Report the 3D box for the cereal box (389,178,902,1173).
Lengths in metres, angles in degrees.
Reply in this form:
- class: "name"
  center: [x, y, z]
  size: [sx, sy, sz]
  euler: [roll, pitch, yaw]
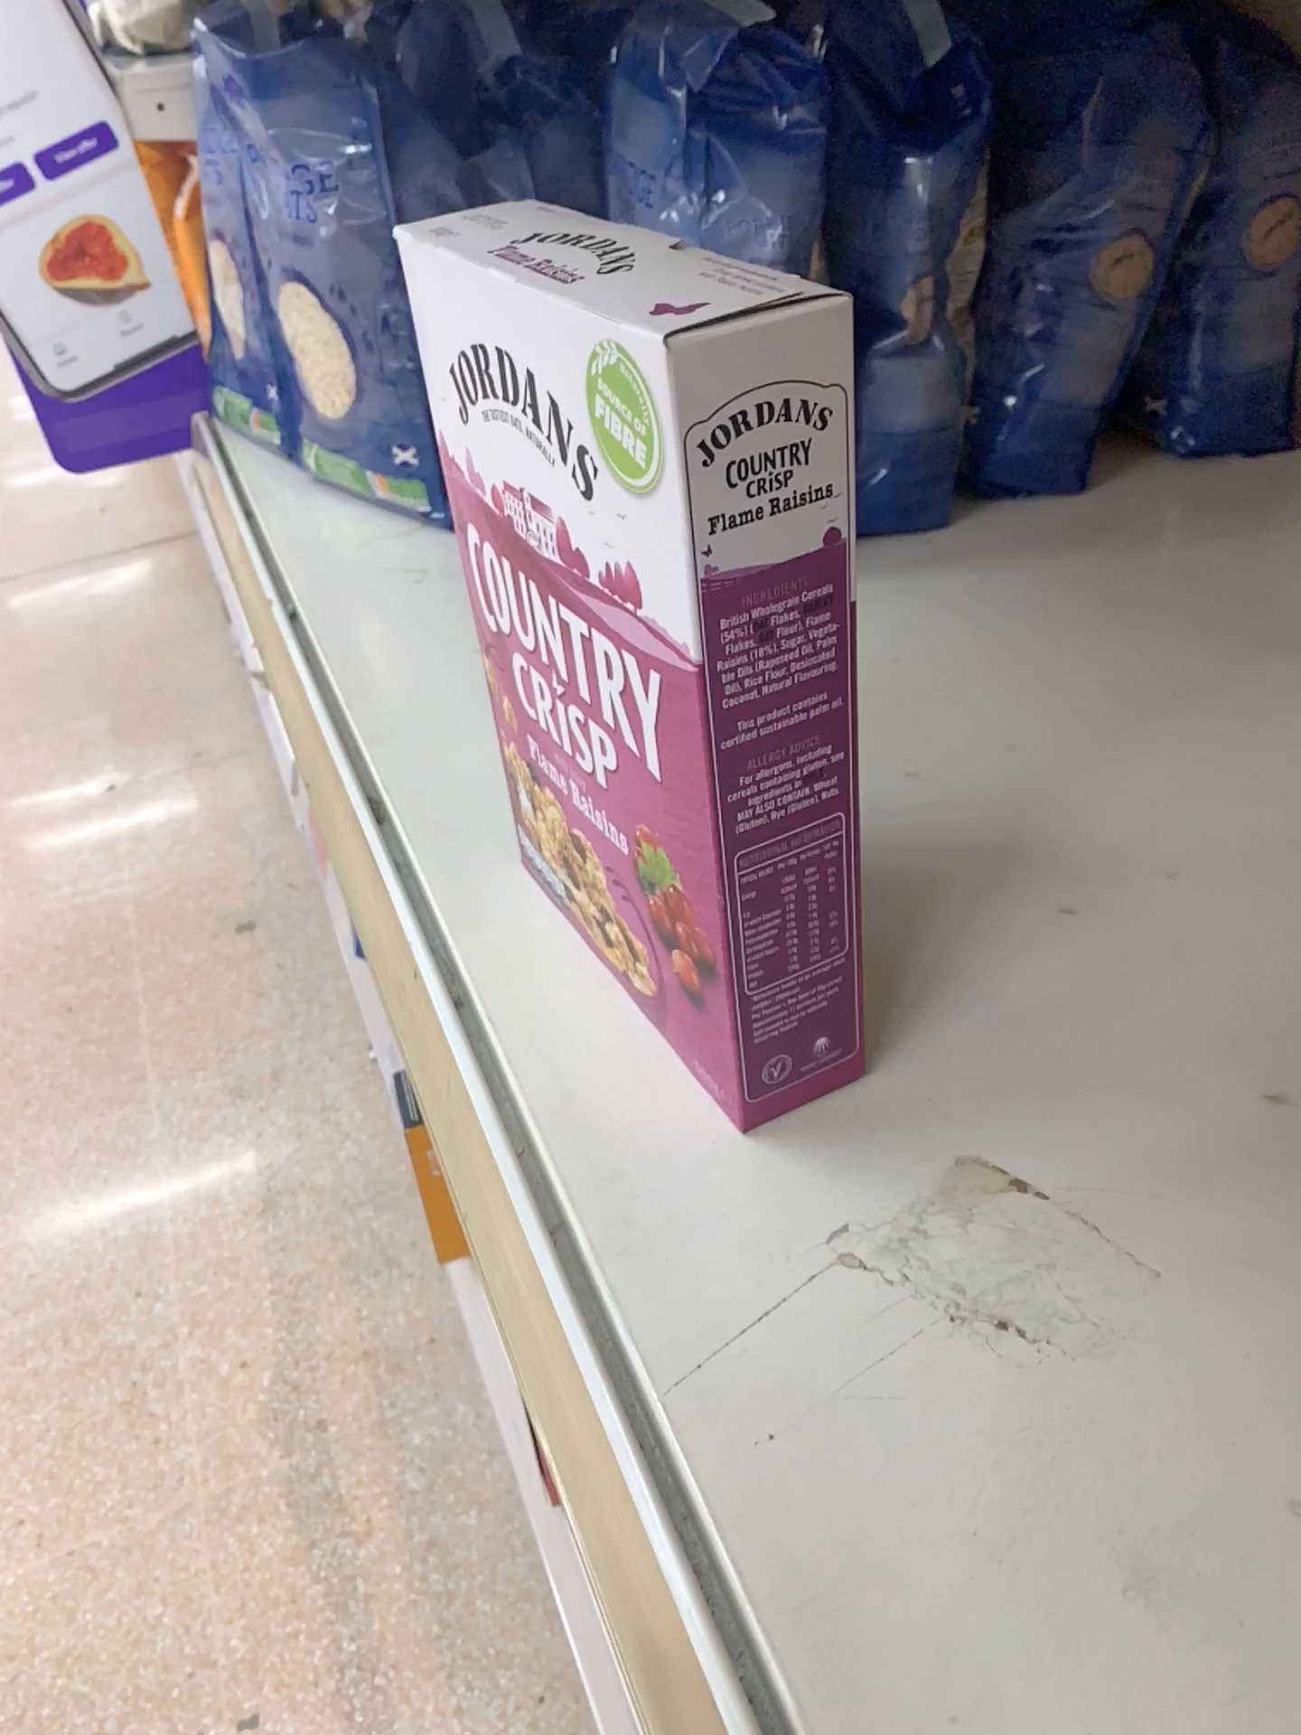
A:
- class: "cereal box"
  center: [-0.003, -0.065, 0.434]
  size: [0.050, 0.257, 0.202]
  euler: [-21, 38, -20]
